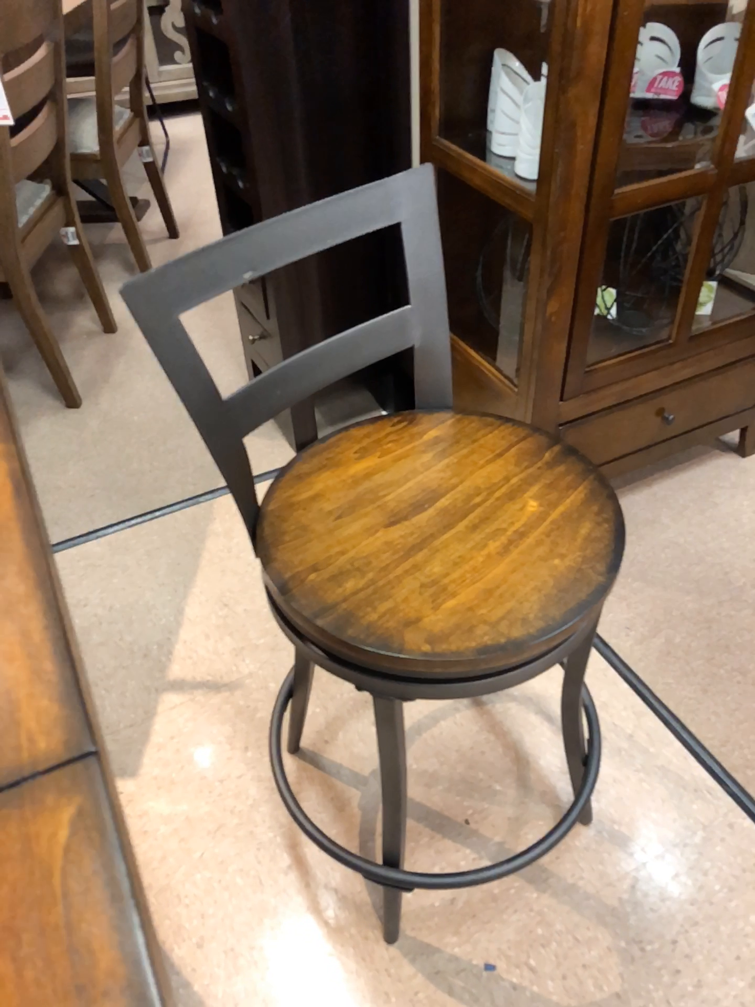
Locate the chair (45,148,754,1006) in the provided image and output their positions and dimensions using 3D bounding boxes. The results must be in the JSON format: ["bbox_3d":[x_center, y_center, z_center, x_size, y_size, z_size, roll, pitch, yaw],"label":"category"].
[{"bbox_3d":[0.054,0.103,0.982,0.491,0.804,0.462,-32,49,-29],"label":"chair"}]
